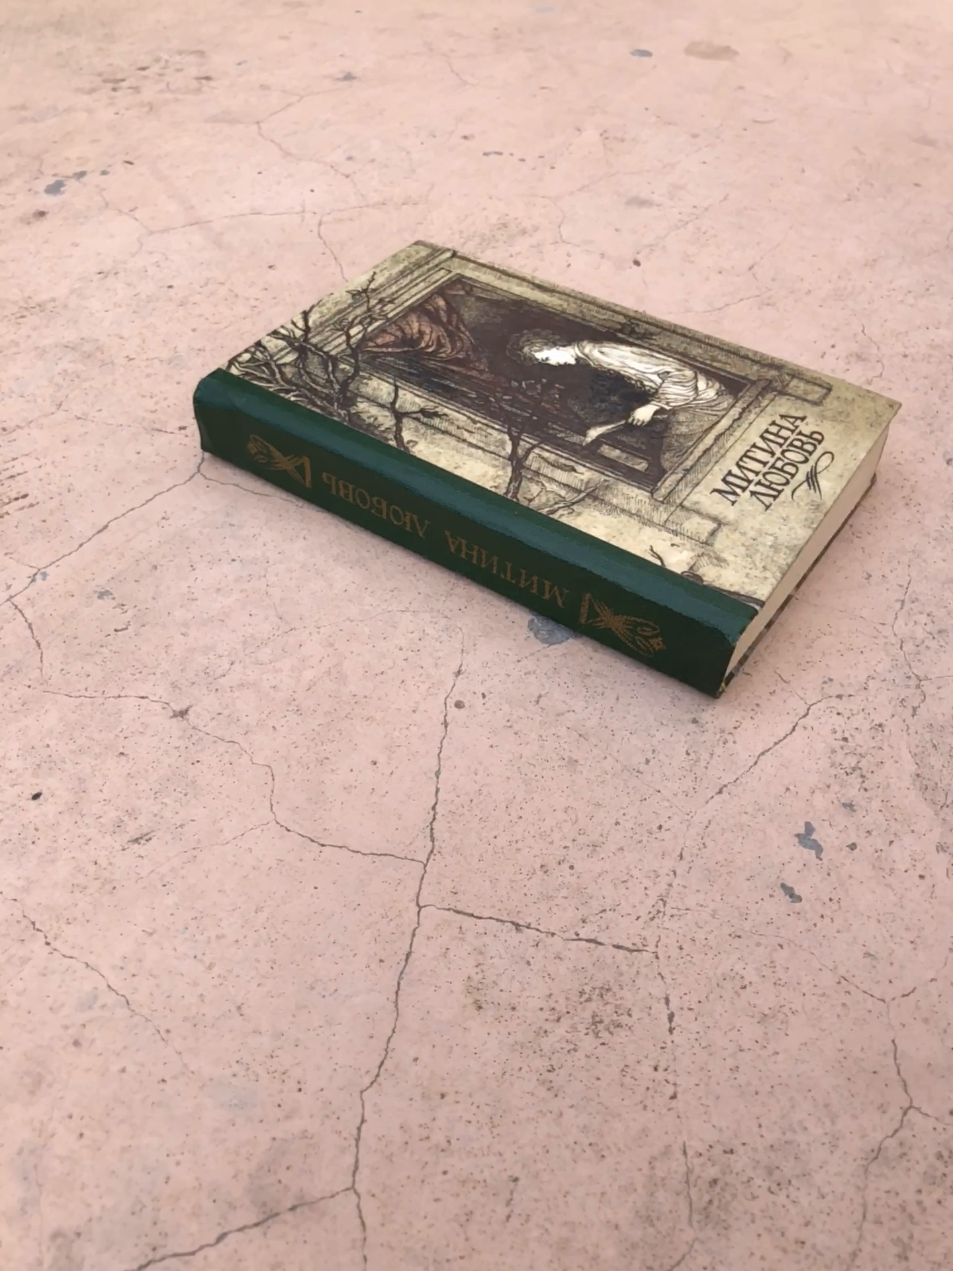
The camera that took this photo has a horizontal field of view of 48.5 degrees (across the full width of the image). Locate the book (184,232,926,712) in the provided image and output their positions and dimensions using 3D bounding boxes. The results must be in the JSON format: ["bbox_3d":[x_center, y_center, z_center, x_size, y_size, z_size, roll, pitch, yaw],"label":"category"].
[{"bbox_3d":[0.026,-0.073,0.371,0.213,0.035,0.135,26,50,23],"label":"book"}]
